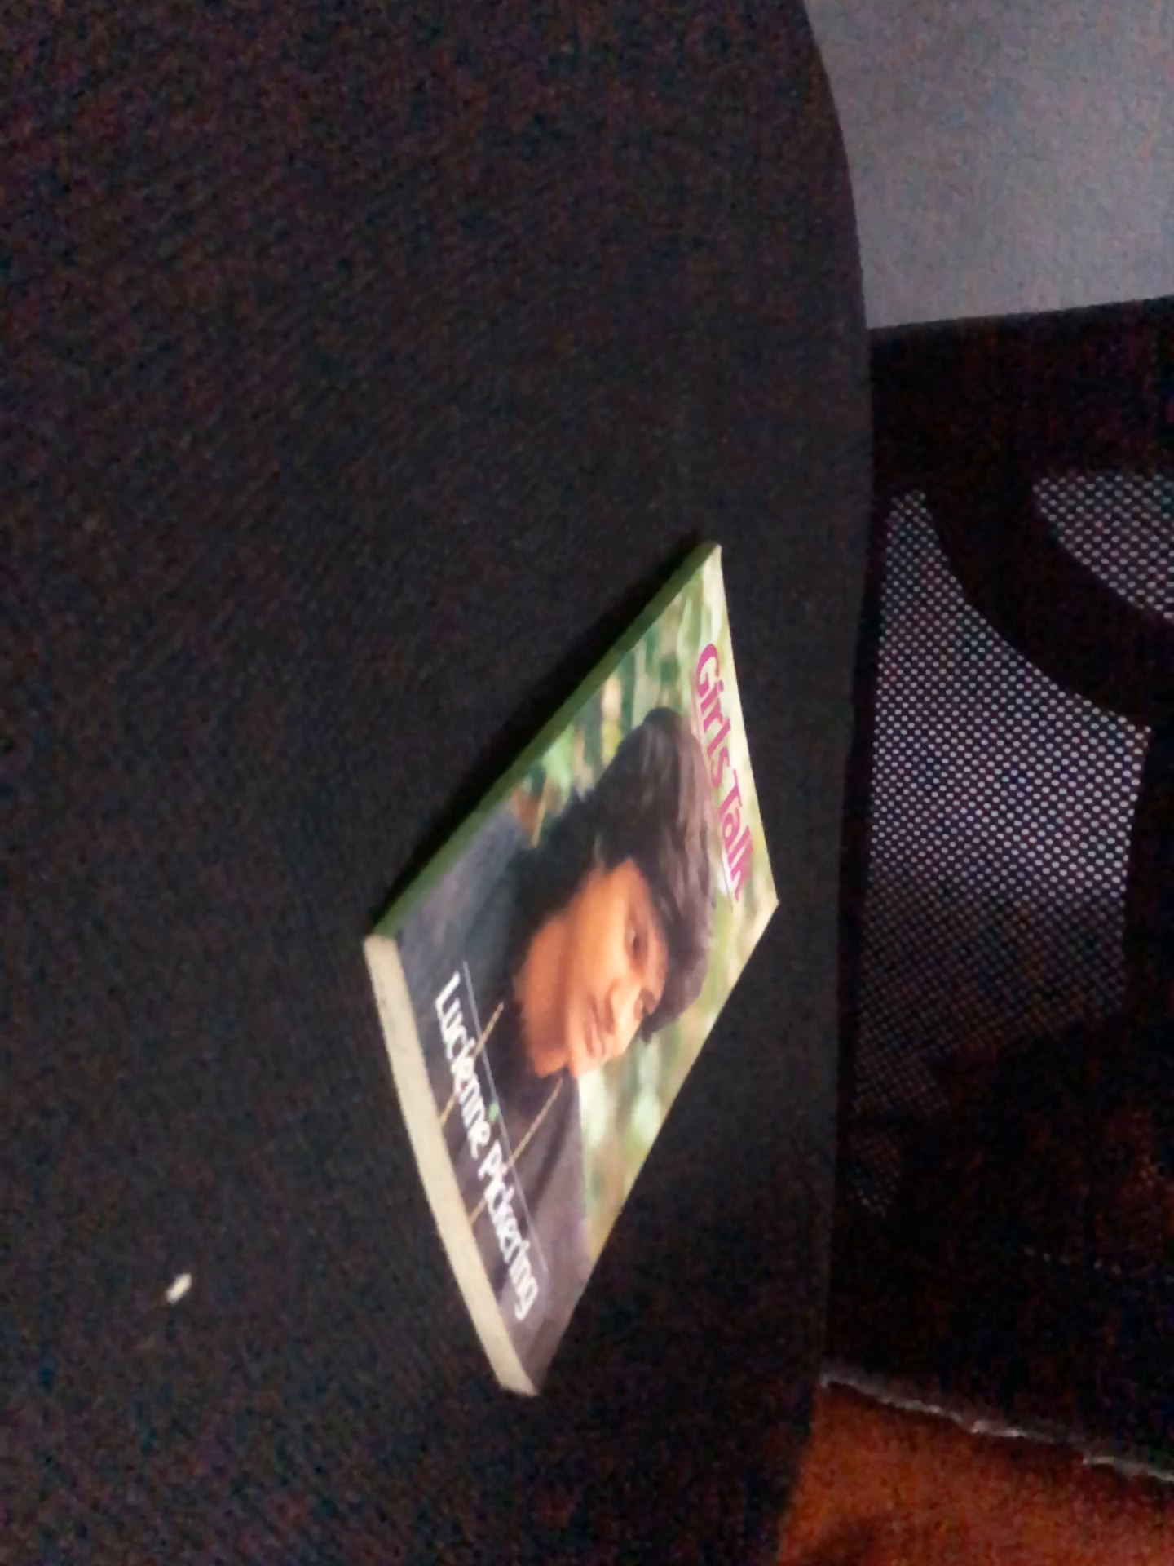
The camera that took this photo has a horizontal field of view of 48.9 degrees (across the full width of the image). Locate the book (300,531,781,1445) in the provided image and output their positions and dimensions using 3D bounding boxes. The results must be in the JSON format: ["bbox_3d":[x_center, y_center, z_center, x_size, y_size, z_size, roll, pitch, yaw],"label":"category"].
[{"bbox_3d":[0.008,0.034,0.324,0.201,0.010,0.130,-52,137,-51],"label":"book"}]
